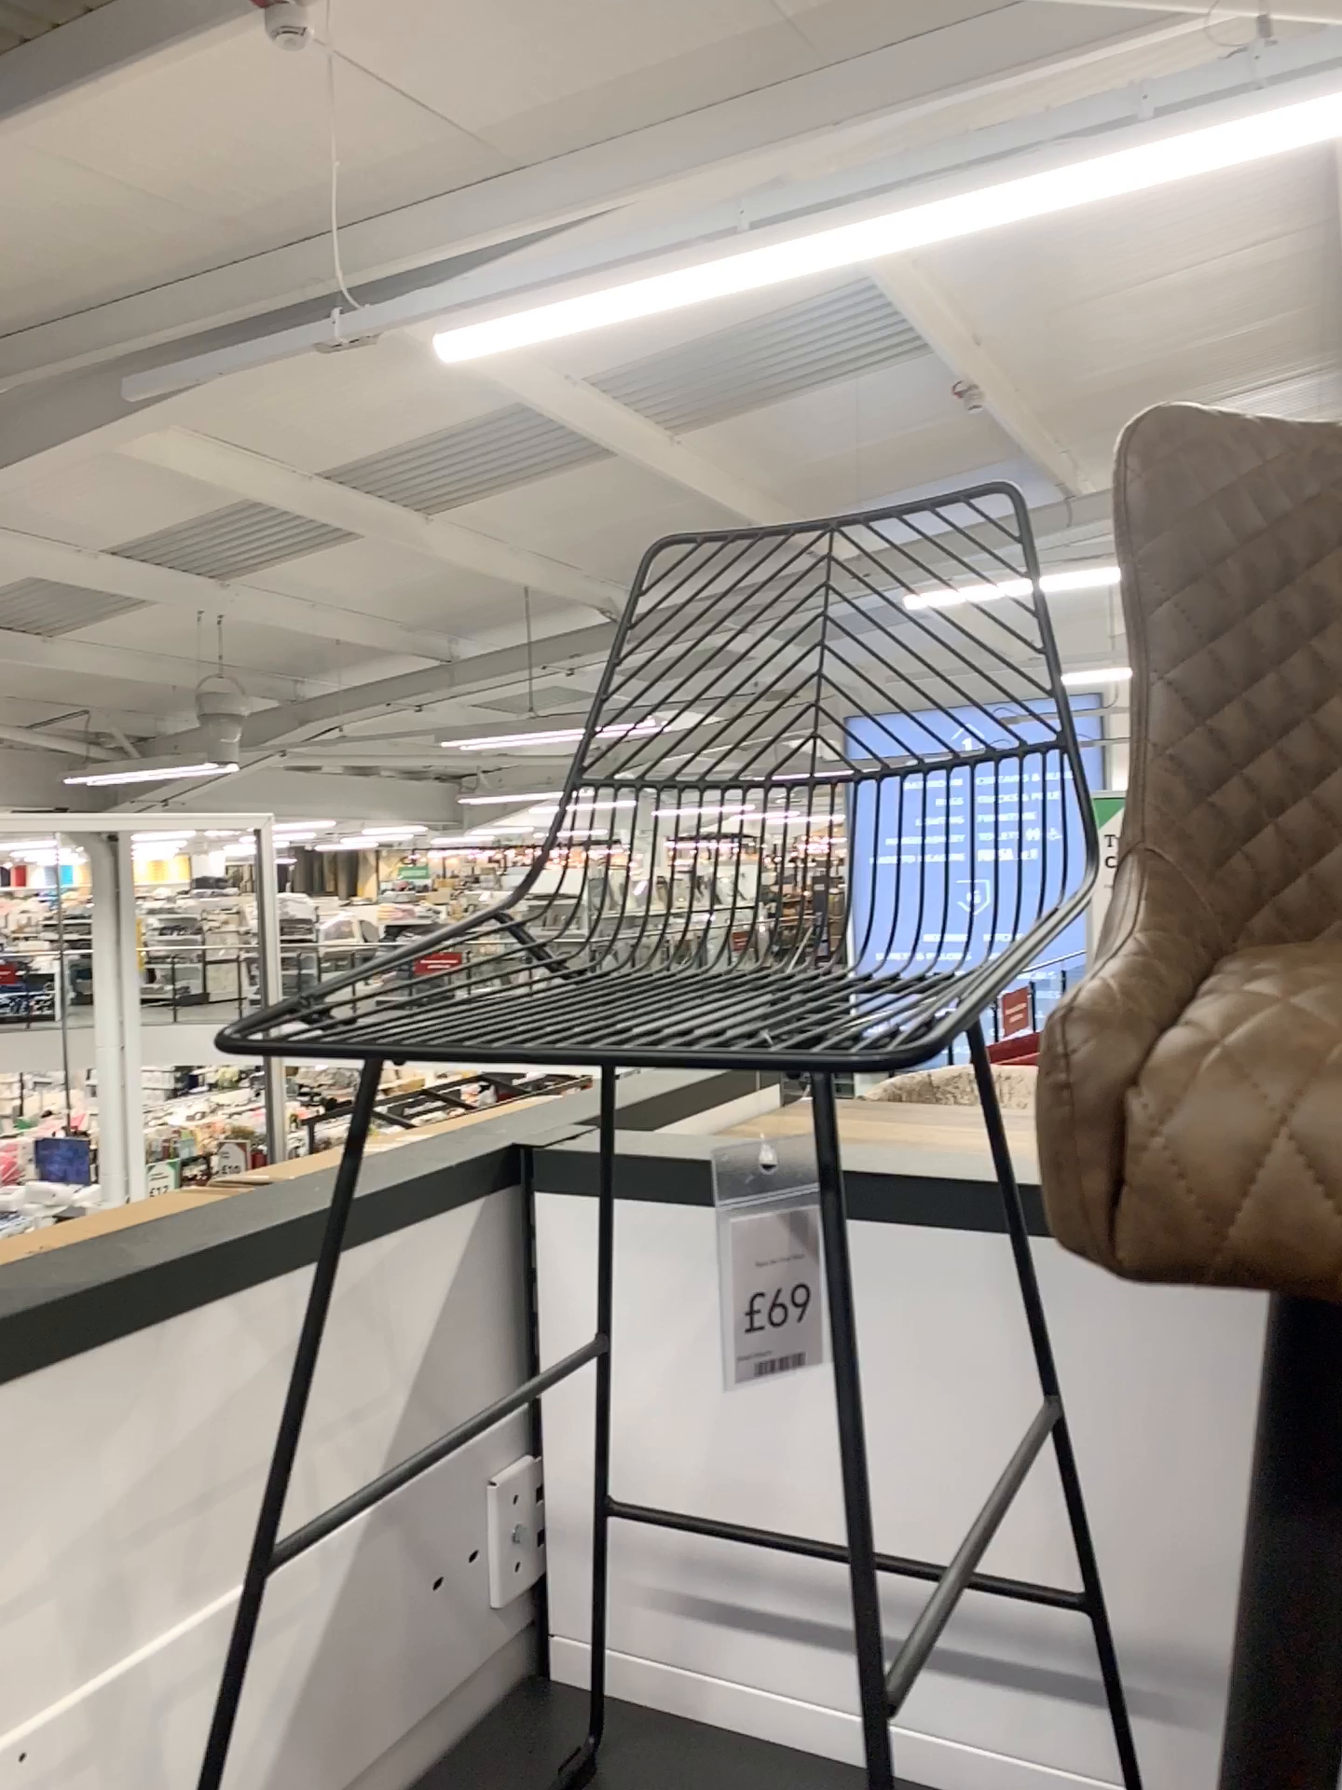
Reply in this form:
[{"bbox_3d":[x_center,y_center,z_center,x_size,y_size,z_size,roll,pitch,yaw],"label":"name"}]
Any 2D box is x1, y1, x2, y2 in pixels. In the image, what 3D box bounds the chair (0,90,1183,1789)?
[{"bbox_3d":[-0.004,0.189,0.840,0.505,0.964,0.529,-2,-1,27],"label":"chair"}]
